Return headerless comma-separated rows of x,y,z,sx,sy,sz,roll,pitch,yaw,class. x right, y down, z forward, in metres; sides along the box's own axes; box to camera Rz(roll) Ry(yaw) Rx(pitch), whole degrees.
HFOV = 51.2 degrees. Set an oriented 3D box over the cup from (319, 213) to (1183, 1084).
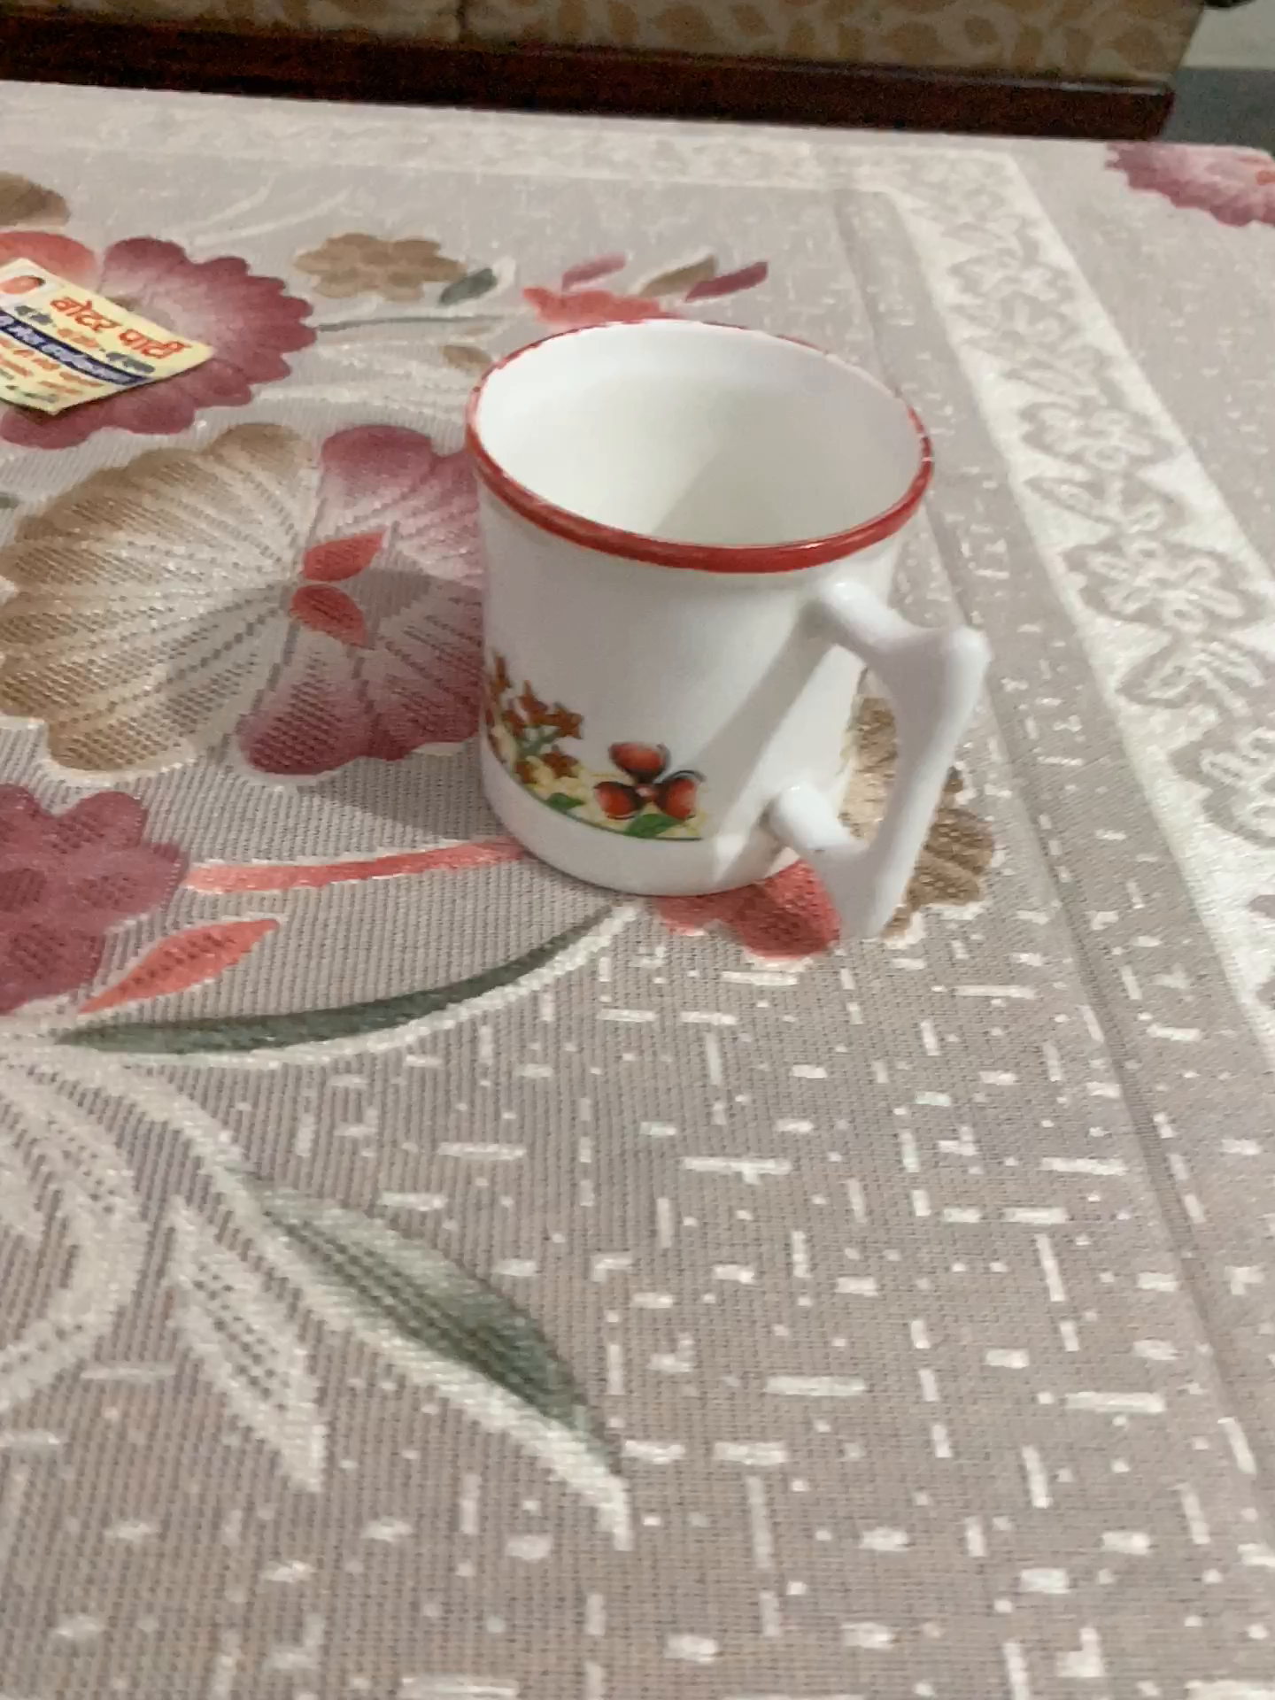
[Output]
0.010,-0.037,0.211,0.070,0.080,0.100,-29,54,-29,cup
